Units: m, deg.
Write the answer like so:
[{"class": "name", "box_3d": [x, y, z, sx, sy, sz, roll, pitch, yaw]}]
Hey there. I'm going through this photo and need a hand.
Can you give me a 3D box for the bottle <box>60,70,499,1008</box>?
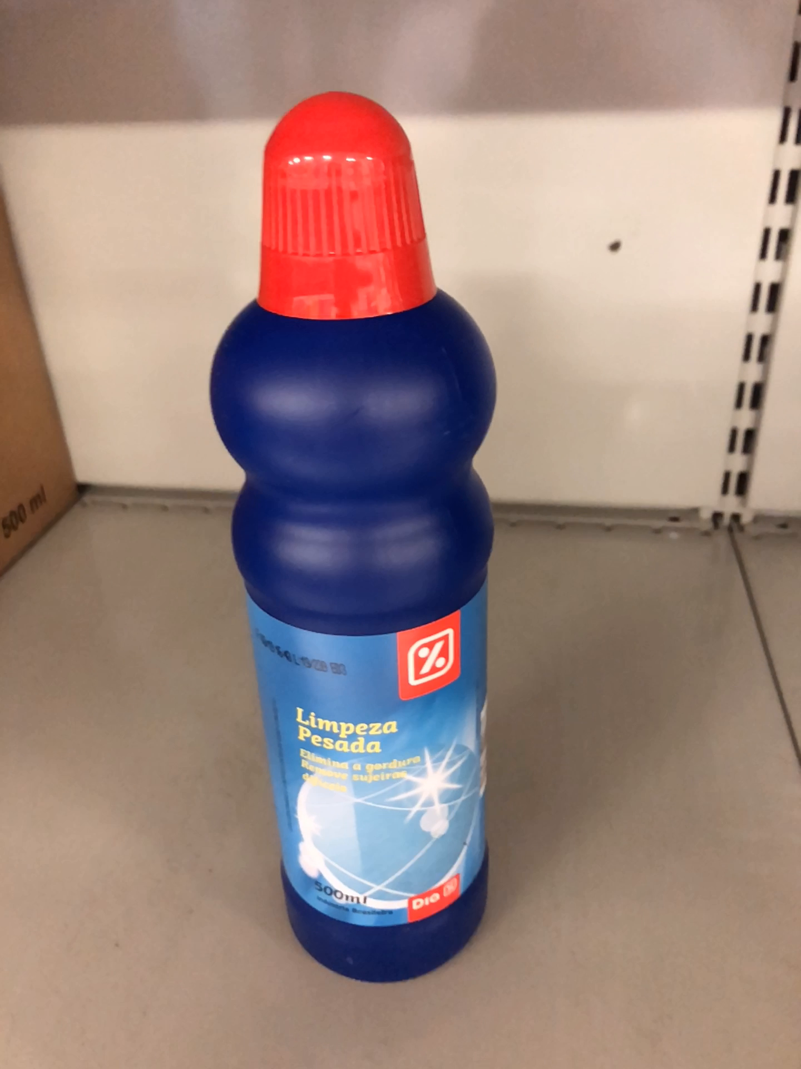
[{"class": "bottle", "box_3d": [-0.012, 0.018, 0.233, 0.070, 0.238, 0.071, -3, 31, 2]}]
